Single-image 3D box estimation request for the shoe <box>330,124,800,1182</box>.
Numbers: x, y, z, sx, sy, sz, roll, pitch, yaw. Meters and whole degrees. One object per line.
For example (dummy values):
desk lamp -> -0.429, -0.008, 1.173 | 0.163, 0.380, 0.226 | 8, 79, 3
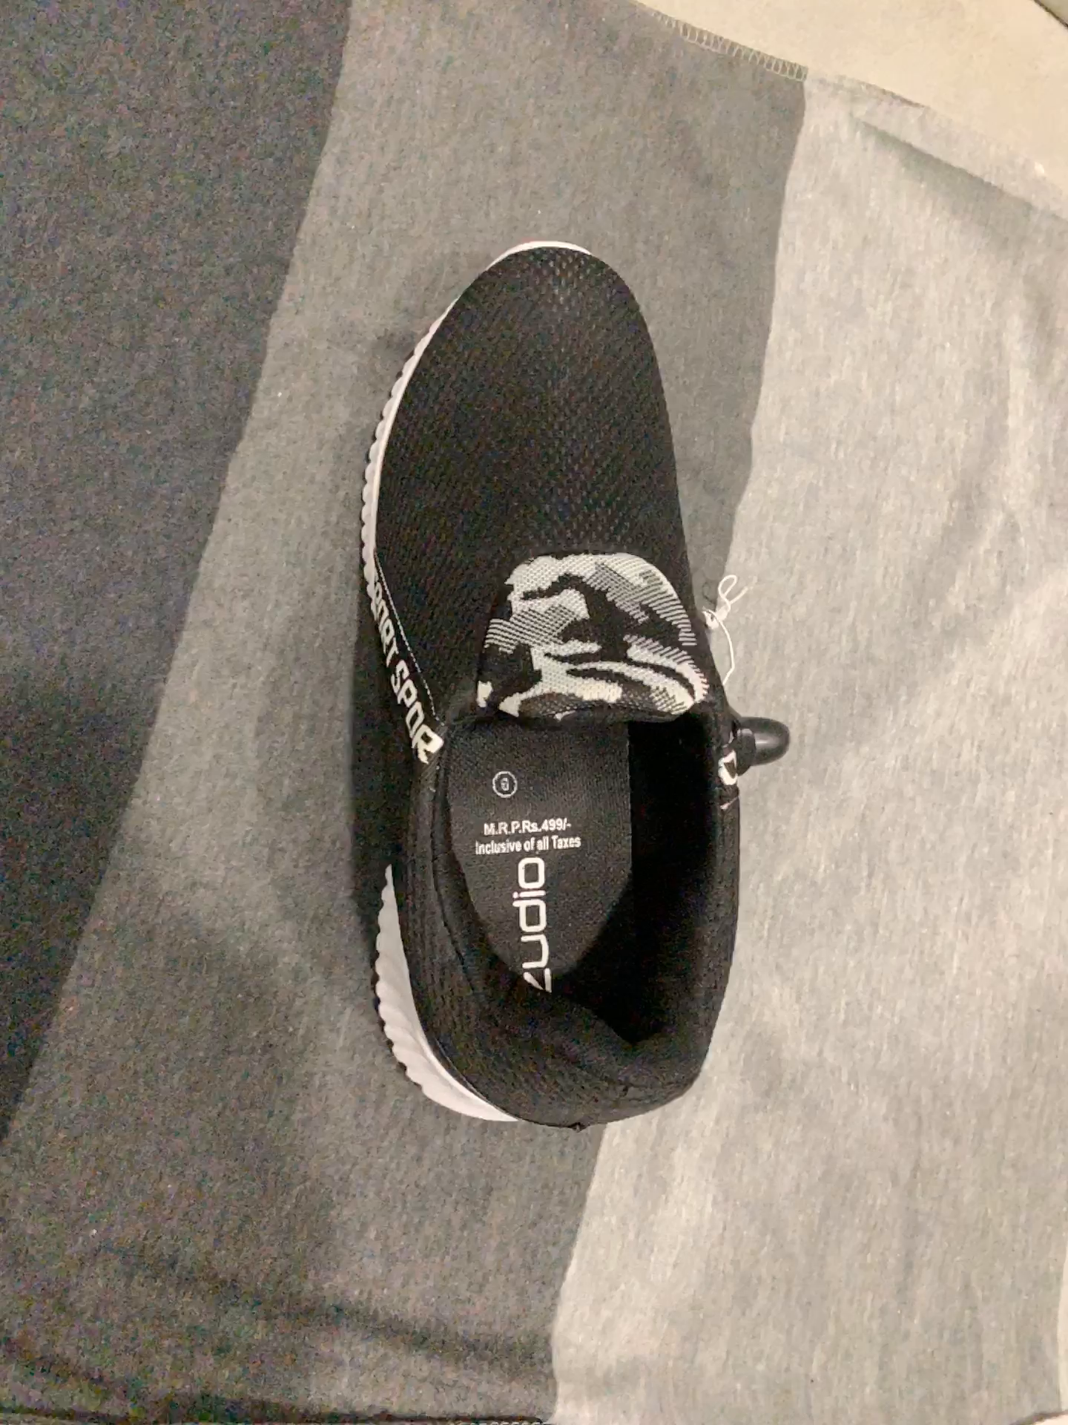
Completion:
shoe -> 0.002, -0.012, 0.306 | 0.100, 0.100, 0.240 | 3, 82, -15
